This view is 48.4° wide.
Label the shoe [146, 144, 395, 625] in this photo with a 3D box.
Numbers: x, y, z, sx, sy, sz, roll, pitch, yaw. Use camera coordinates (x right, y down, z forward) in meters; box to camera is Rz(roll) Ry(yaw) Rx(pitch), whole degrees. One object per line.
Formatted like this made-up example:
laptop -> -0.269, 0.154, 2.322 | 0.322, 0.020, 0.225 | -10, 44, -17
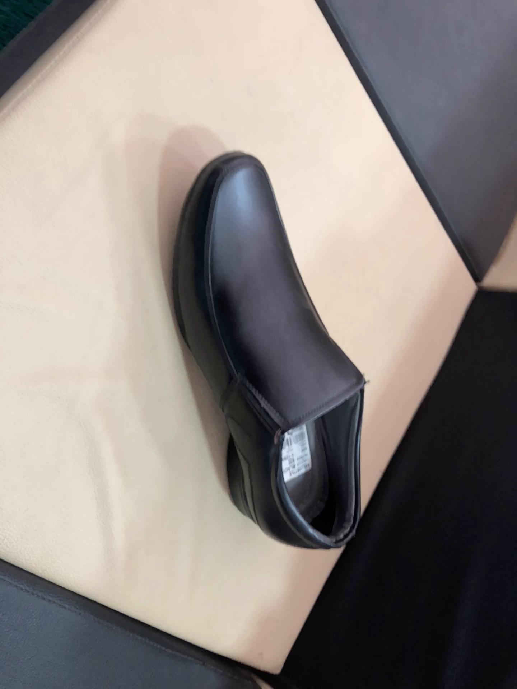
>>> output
shoe -> 0.017, 0.028, 0.433 | 0.101, 0.099, 0.320 | -21, 110, -35
